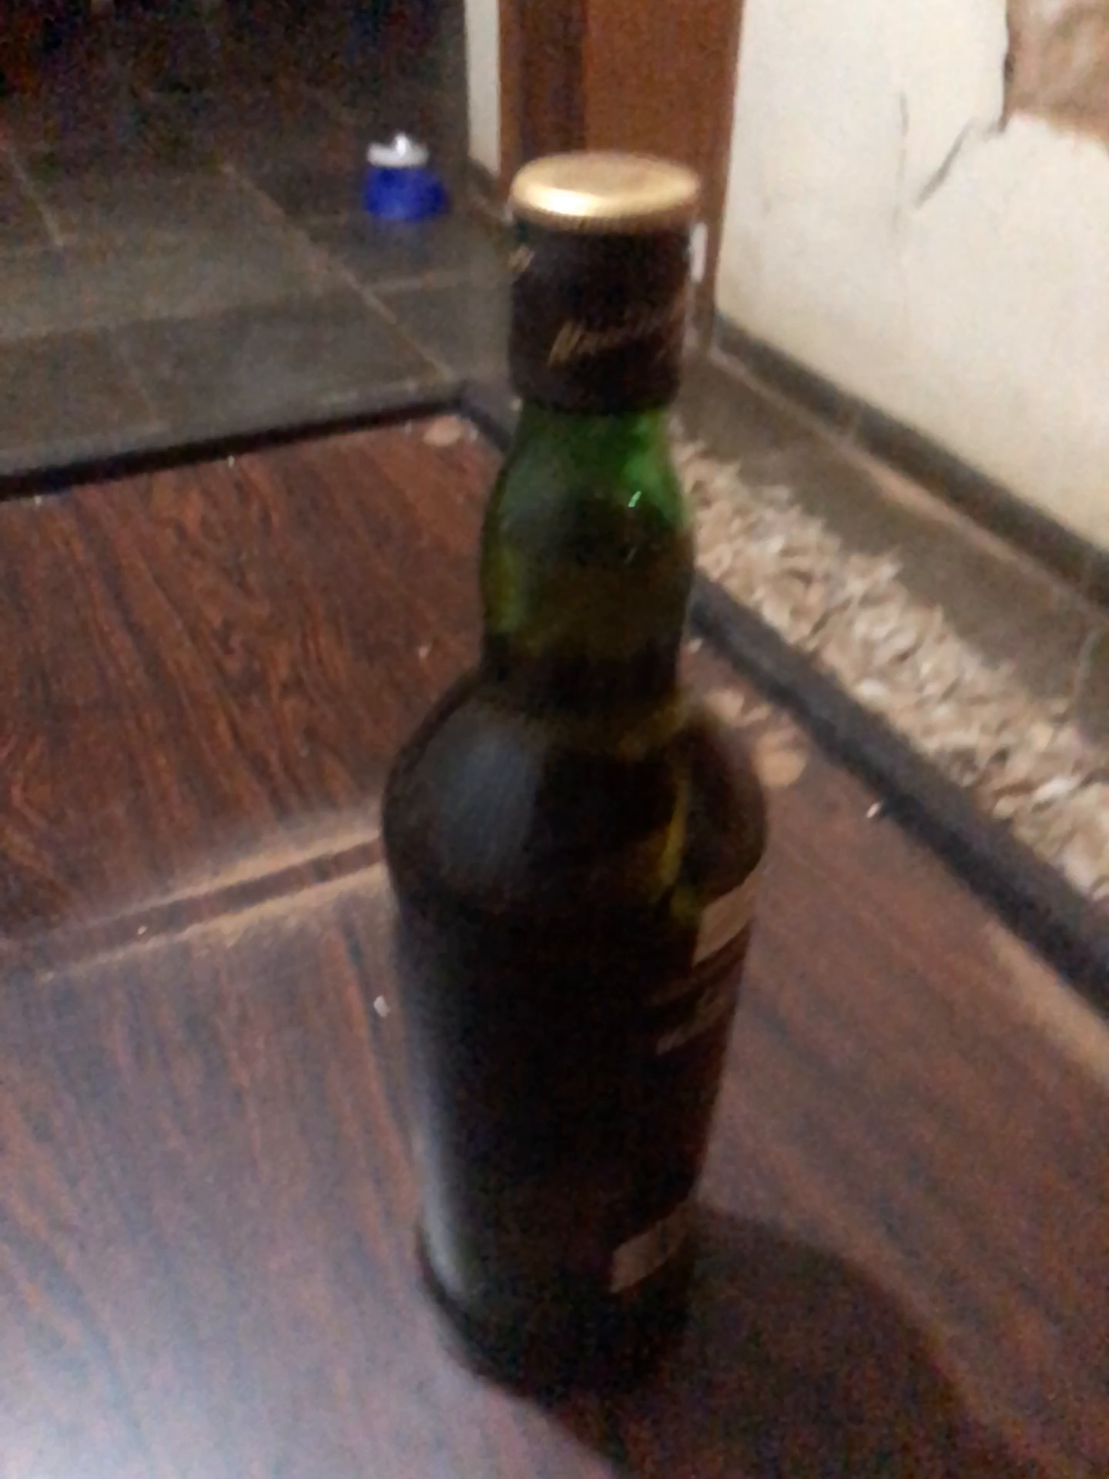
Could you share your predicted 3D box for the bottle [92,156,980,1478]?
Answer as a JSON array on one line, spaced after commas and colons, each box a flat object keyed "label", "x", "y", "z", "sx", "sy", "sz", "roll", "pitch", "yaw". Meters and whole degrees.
[{"label": "bottle", "x": -0.005, "y": 0.046, "z": 0.290, "sx": 0.101, "sy": 0.308, "sz": 0.100, "roll": 1, "pitch": 38, "yaw": -1}]
